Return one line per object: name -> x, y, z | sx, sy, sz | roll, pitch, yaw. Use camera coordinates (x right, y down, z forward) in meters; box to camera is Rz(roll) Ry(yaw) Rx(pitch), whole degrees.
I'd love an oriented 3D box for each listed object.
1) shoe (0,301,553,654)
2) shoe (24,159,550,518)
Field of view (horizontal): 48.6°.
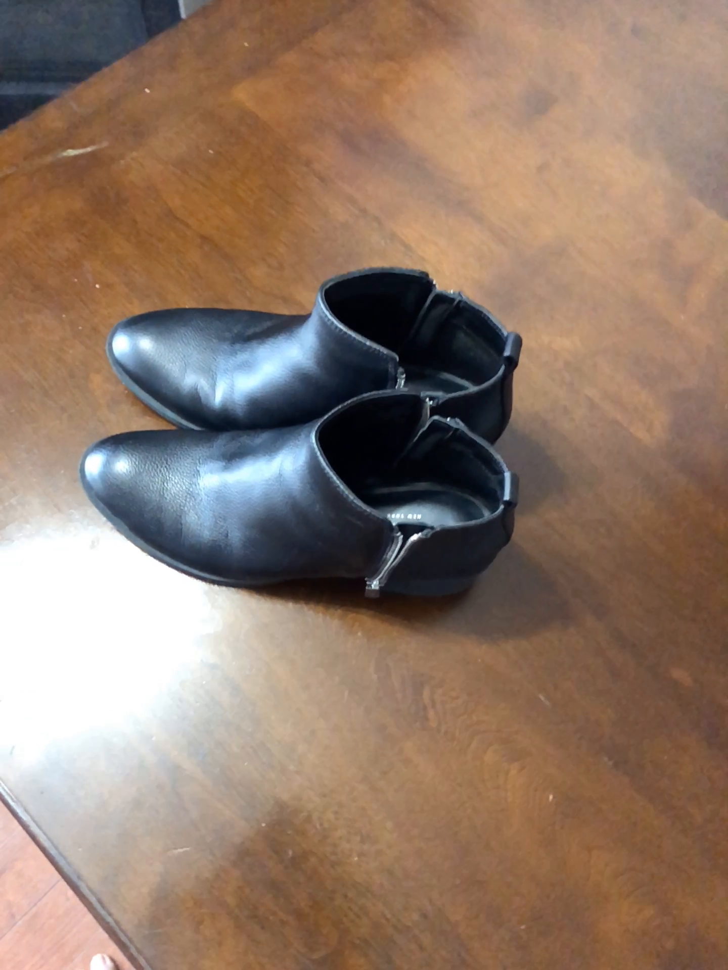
shoe -> -0.047, 0.004, 0.444 | 0.260, 0.130, 0.100 | 12, 68, 2
shoe -> -0.040, -0.081, 0.487 | 0.260, 0.130, 0.100 | 15, 68, 3
